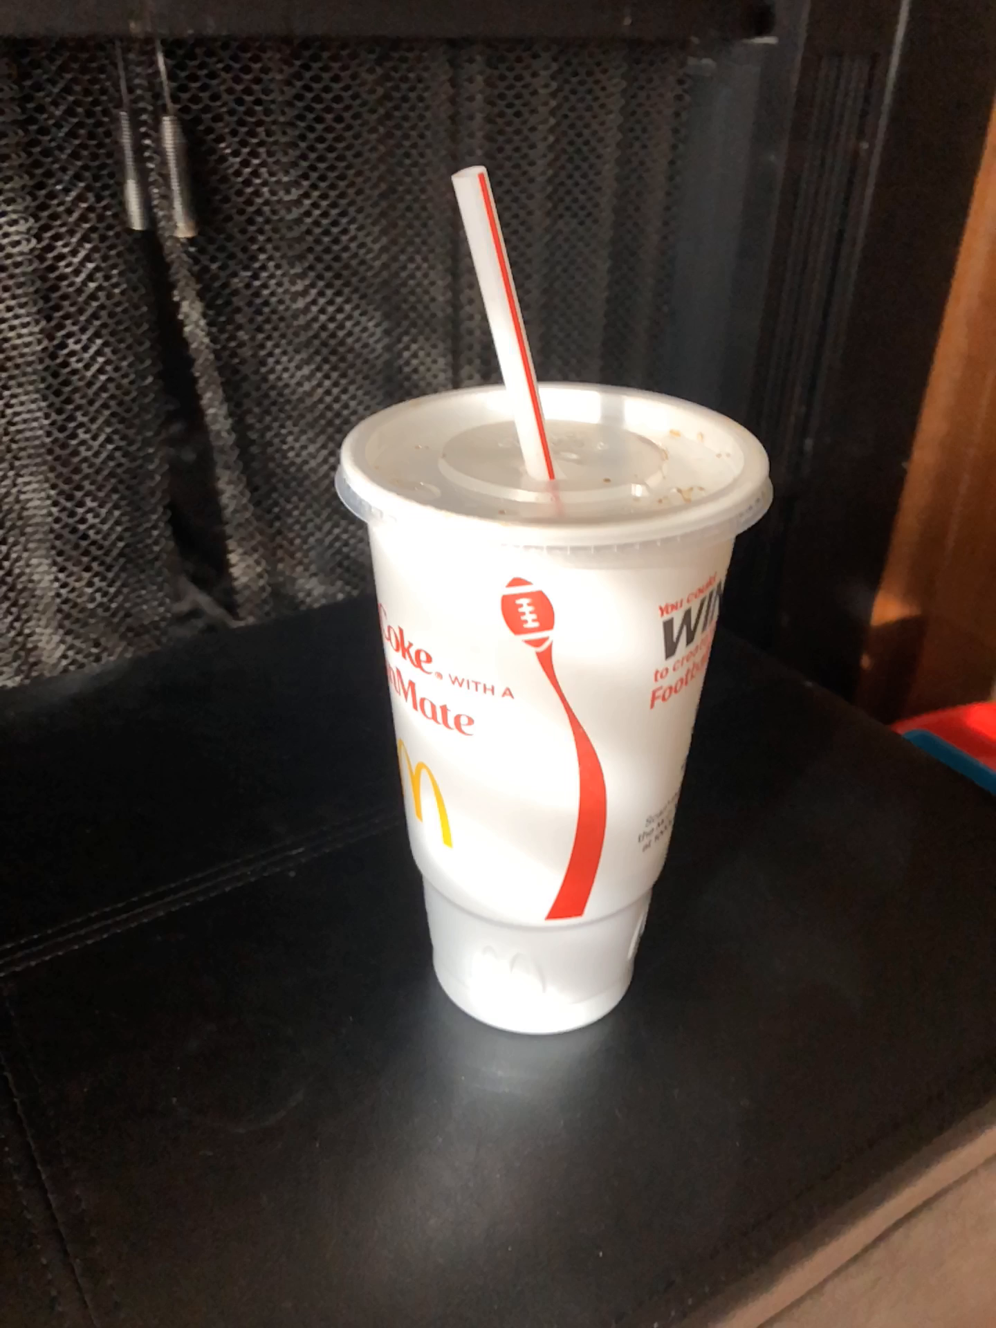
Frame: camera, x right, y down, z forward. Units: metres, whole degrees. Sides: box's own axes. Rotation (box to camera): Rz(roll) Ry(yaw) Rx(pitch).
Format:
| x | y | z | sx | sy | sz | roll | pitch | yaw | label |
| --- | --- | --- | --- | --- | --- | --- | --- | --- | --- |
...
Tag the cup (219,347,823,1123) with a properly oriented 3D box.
| x | y | z | sx | sy | sz | roll | pitch | yaw | label |
| --- | --- | --- | --- | --- | --- | --- | --- | --- | --- |
| 0.013 | 0.011 | 0.302 | 0.110 | 0.150 | 0.120 | 1 | 32 | -1 | cup |
